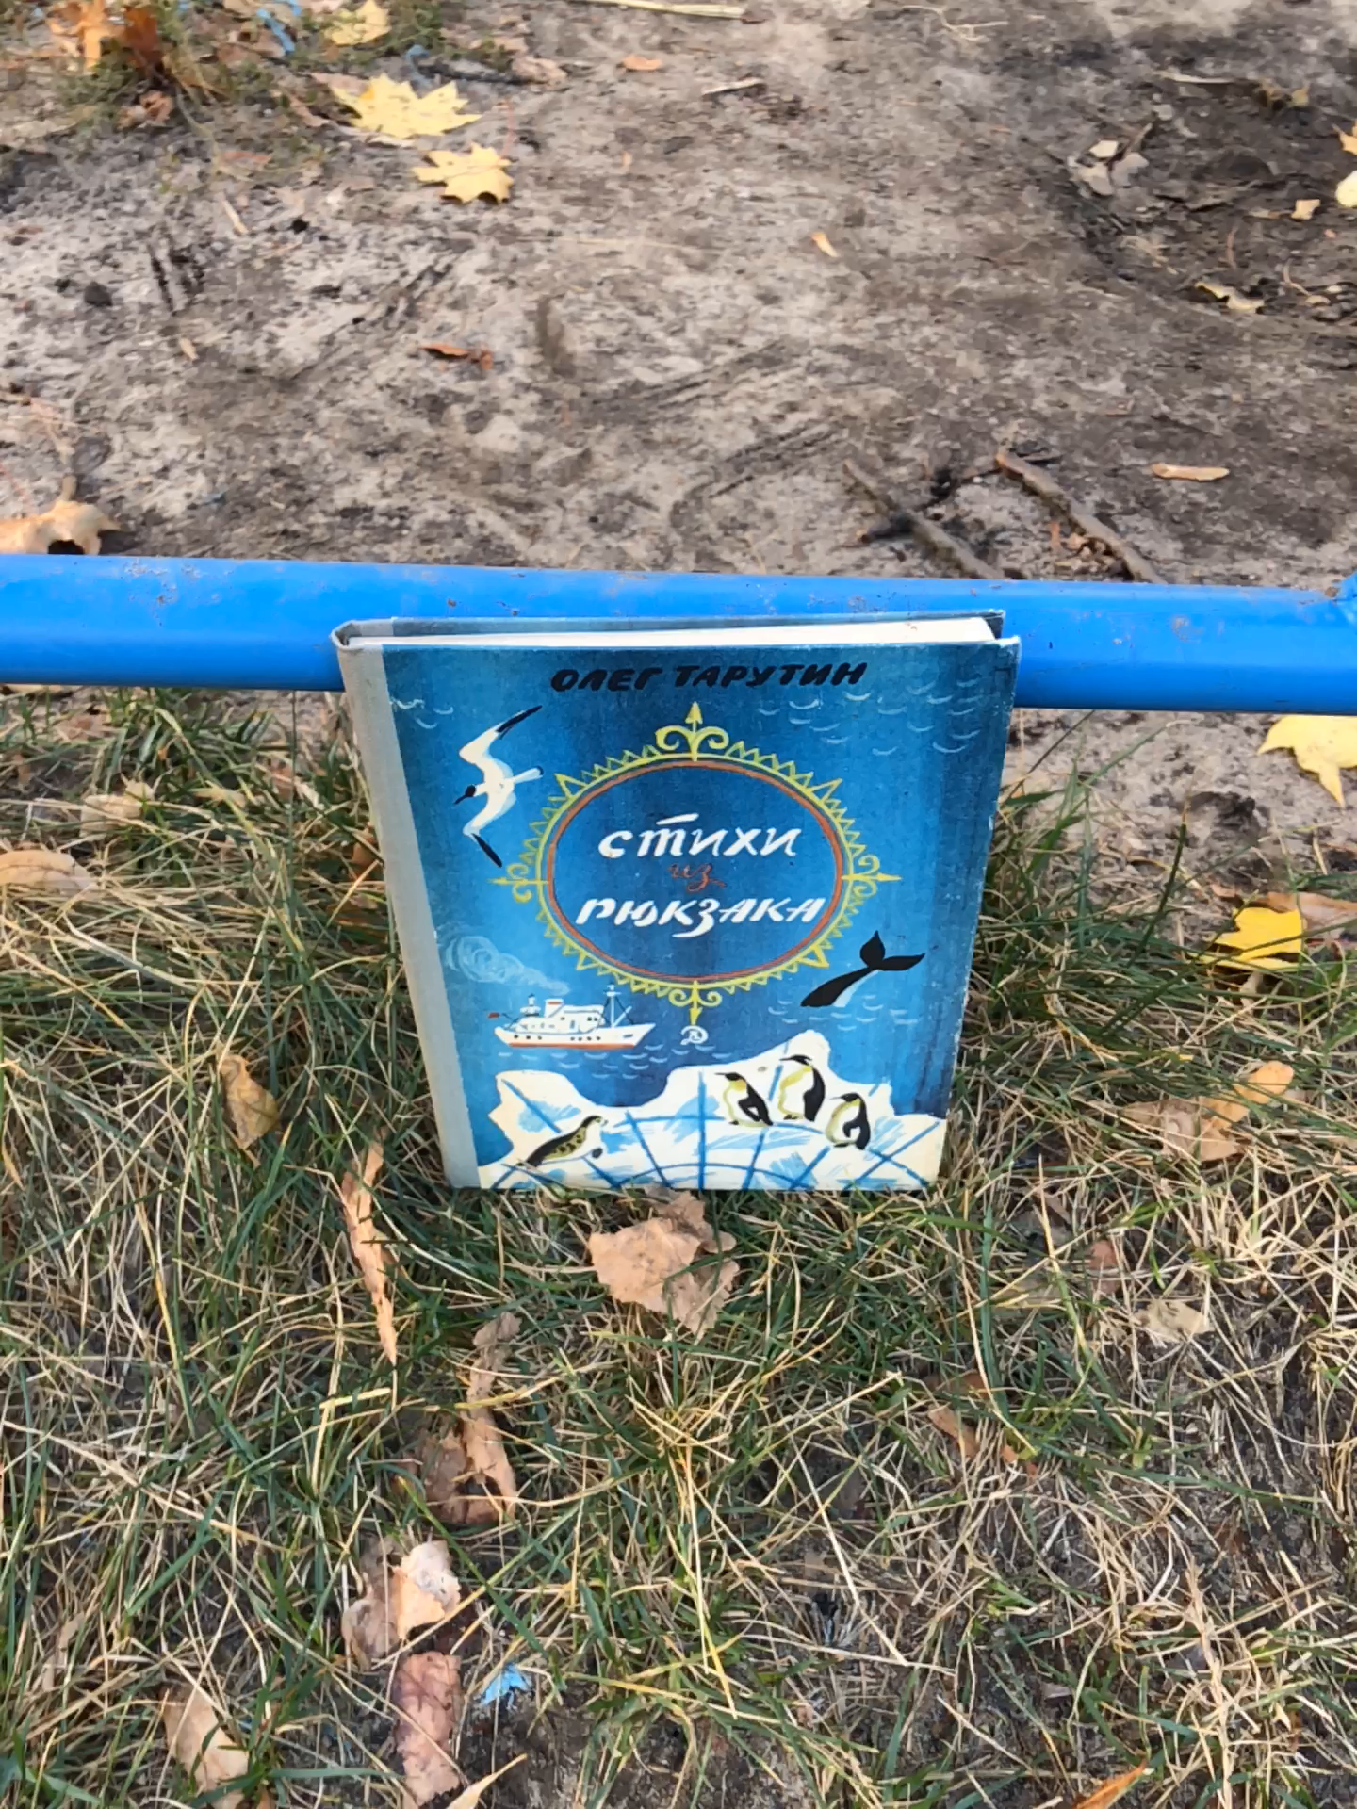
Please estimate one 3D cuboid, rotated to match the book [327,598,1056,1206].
[{"bbox_3d":[0.001,0.011,0.442,0.179,0.209,0.023,0,39,-3],"label":"book"}]
